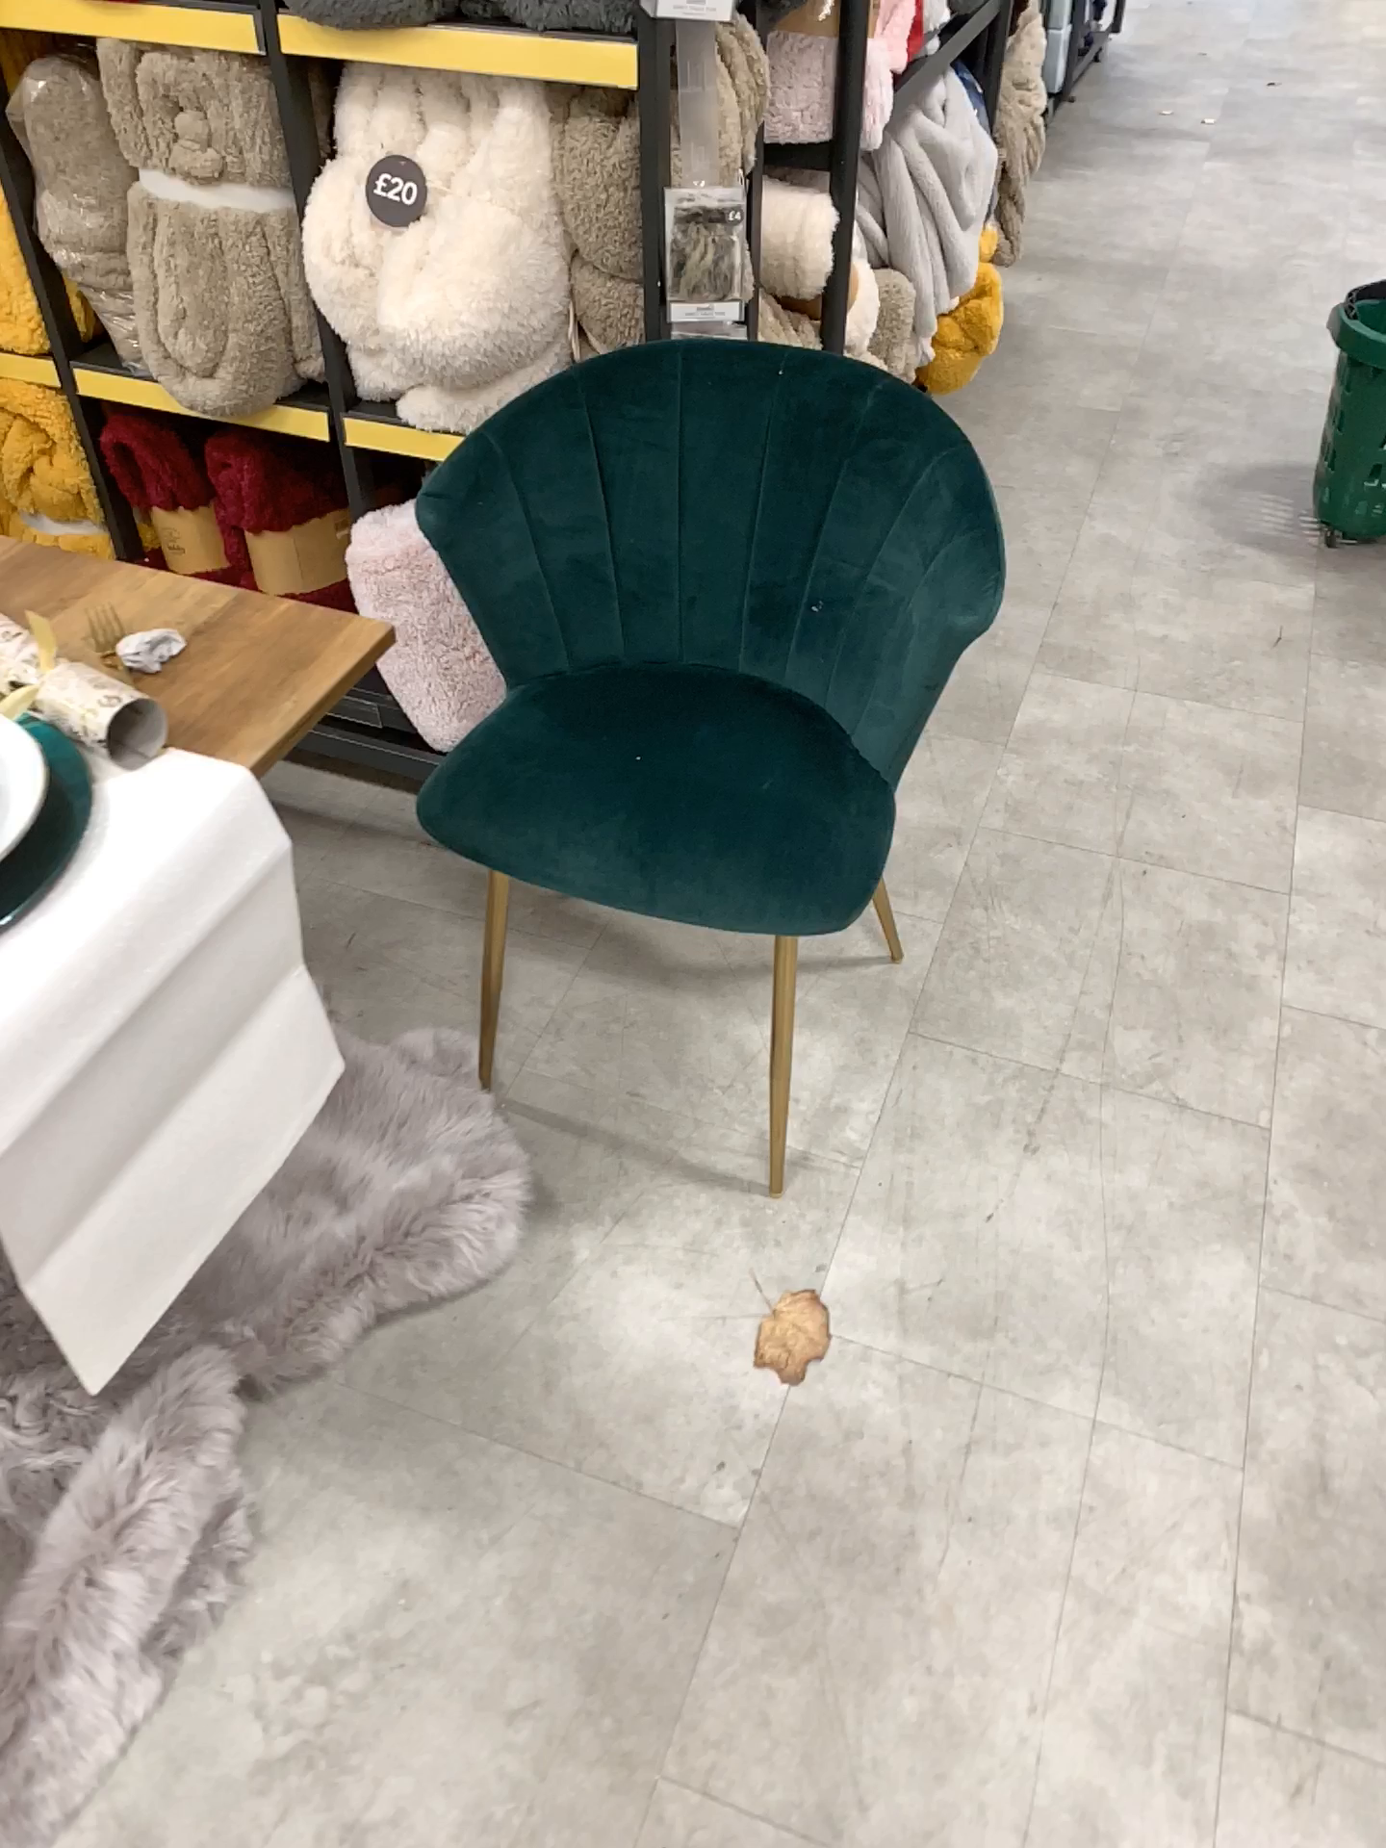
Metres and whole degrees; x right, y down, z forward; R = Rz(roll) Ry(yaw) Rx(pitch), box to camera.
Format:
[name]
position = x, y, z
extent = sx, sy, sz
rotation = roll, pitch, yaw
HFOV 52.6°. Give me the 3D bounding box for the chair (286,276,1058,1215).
[chair]
position = 0.010, -0.196, 1.539
extent = 0.541, 0.754, 0.529
rotation = 16, 45, 17
